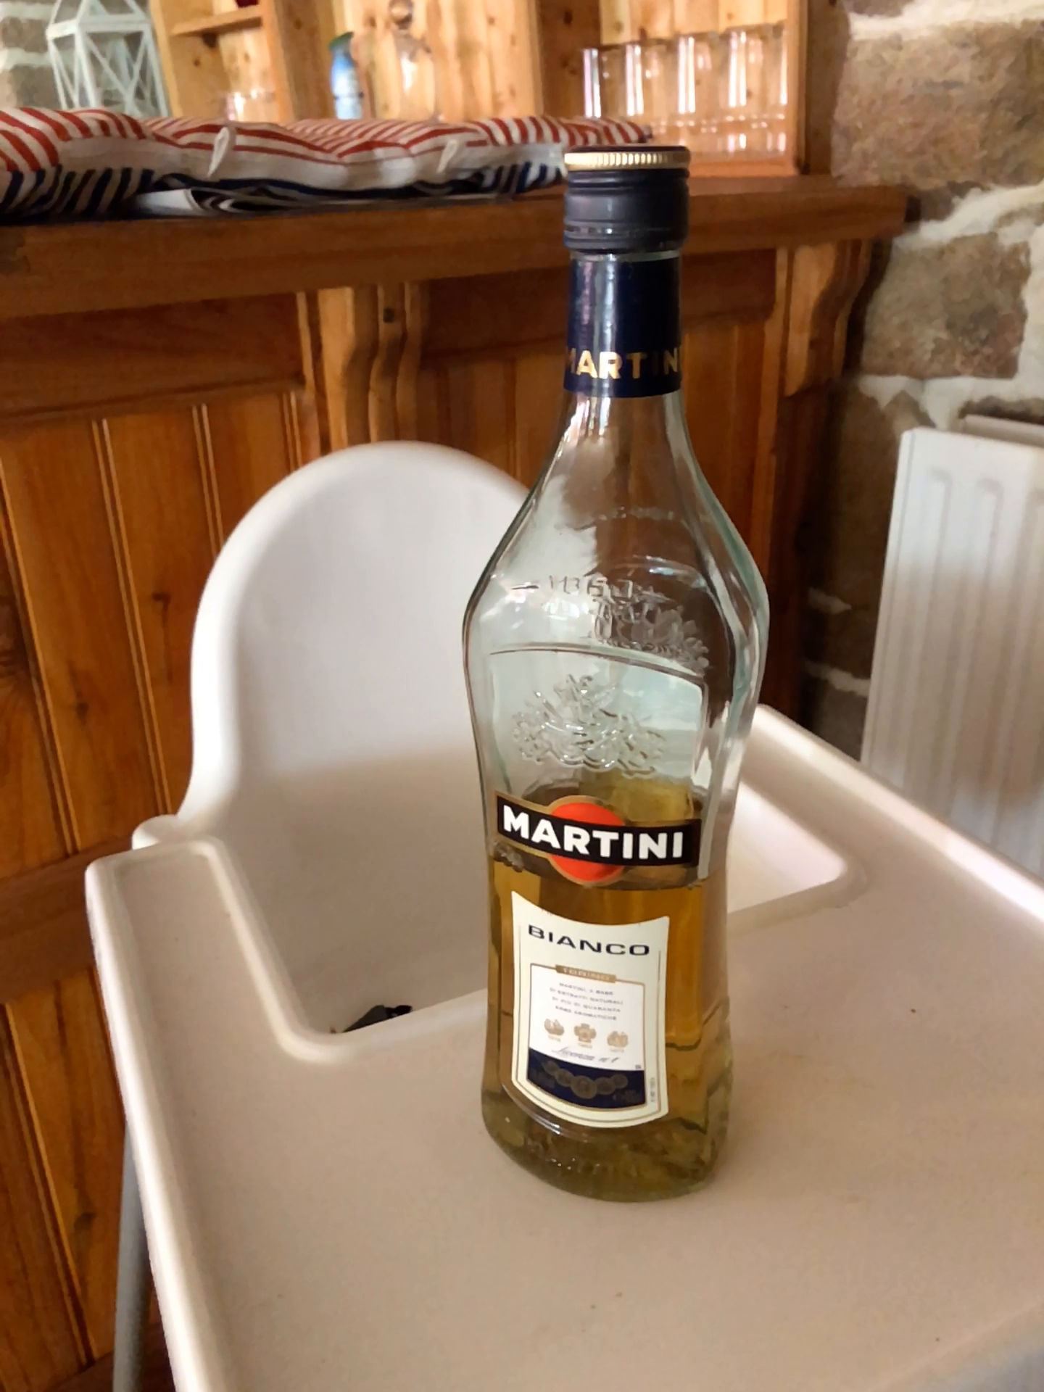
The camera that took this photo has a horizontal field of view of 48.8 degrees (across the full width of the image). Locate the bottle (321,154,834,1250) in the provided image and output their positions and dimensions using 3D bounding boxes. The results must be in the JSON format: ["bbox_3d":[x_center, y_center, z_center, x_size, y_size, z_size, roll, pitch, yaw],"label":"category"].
[{"bbox_3d":[0.021,0.009,0.357,0.110,0.318,0.080,8,26,20],"label":"bottle"}]
